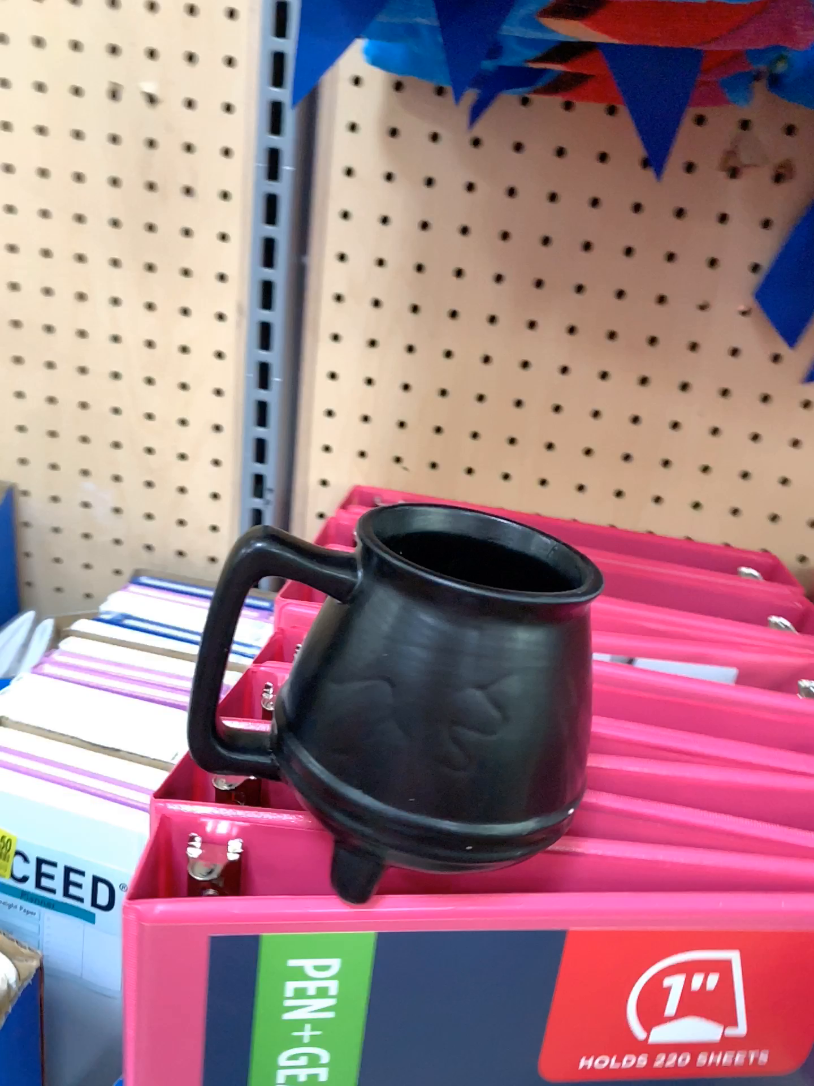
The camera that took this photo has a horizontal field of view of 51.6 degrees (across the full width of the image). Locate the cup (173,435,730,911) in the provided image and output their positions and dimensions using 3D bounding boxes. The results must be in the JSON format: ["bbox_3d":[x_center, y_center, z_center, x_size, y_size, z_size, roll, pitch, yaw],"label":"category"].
[{"bbox_3d":[0.003,0.033,0.248,0.122,0.093,0.097,5,22,-9],"label":"cup"}]
